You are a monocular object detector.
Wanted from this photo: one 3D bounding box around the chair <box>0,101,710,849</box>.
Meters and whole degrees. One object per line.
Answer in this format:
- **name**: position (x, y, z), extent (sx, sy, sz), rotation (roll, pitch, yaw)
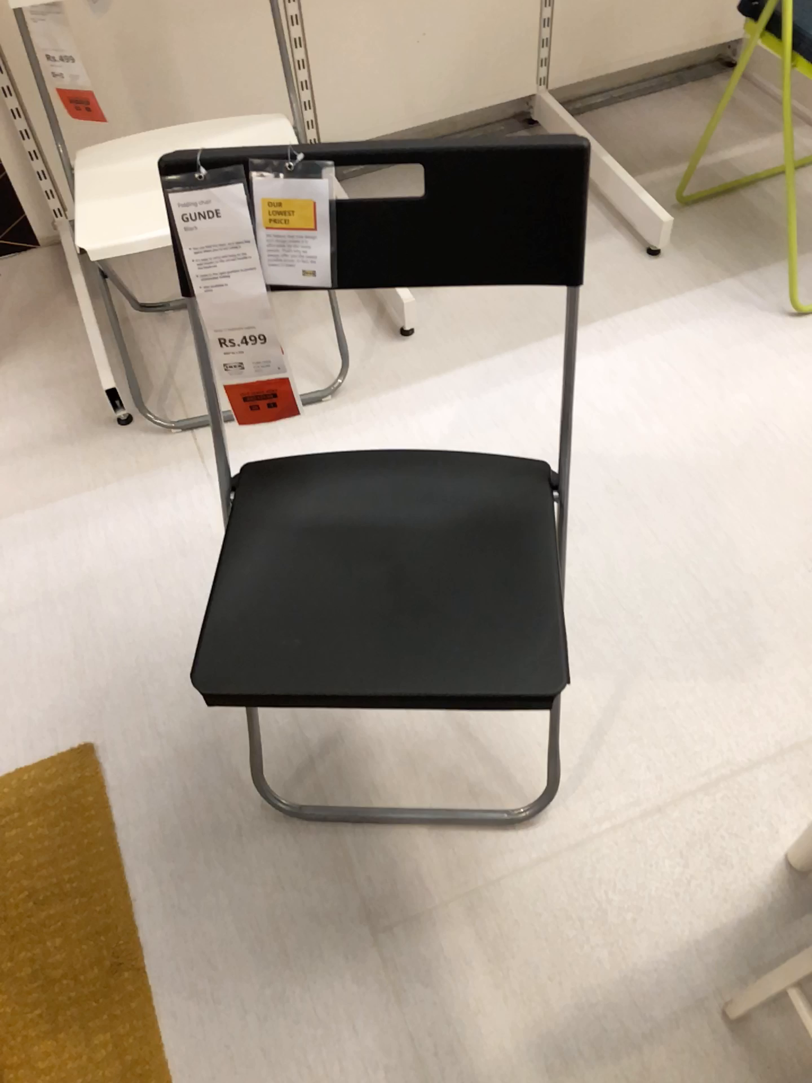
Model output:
- **chair**: position (-0.022, 0.000, 1.047), extent (0.500, 0.785, 0.463), rotation (-1, 53, 4)
